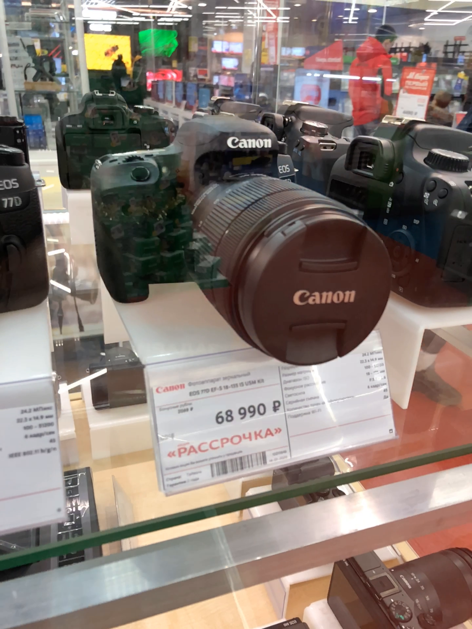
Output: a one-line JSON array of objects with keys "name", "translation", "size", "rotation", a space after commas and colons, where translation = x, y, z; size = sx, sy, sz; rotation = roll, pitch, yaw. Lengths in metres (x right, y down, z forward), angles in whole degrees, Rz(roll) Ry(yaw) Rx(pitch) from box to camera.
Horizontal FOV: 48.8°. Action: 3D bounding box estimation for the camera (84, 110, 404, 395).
[{"name": "camera", "translation": [-0.012, -0.057, 0.324], "size": [0.132, 0.119, 0.168], "rotation": [-7, 26, -20]}]
